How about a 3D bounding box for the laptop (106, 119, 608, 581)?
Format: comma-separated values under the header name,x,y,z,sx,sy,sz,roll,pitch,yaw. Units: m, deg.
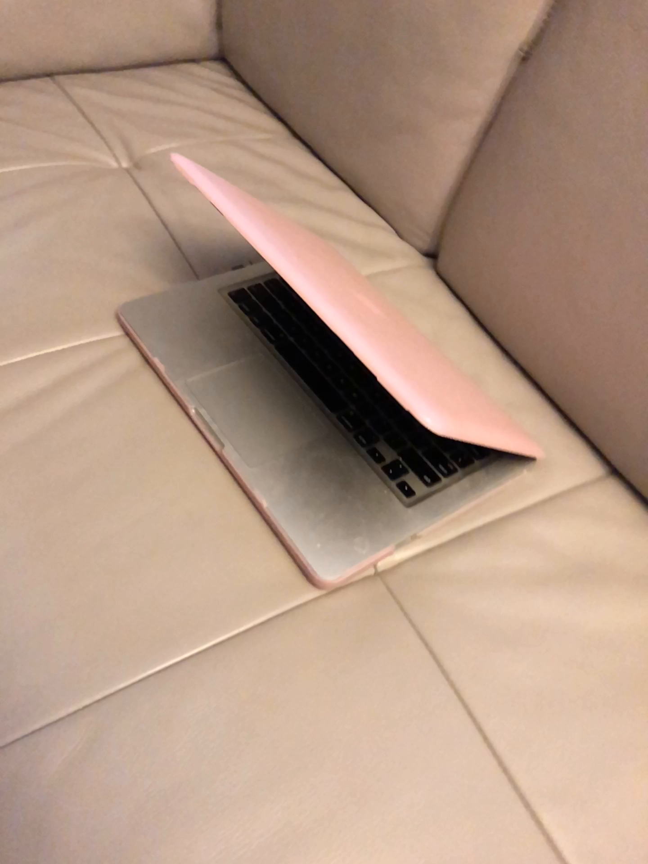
name,x,y,z,sx,sy,sz,roll,pitch,yaw
laptop,0.011,-0.087,0.559,0.220,0.145,0.308,-25,58,-27
